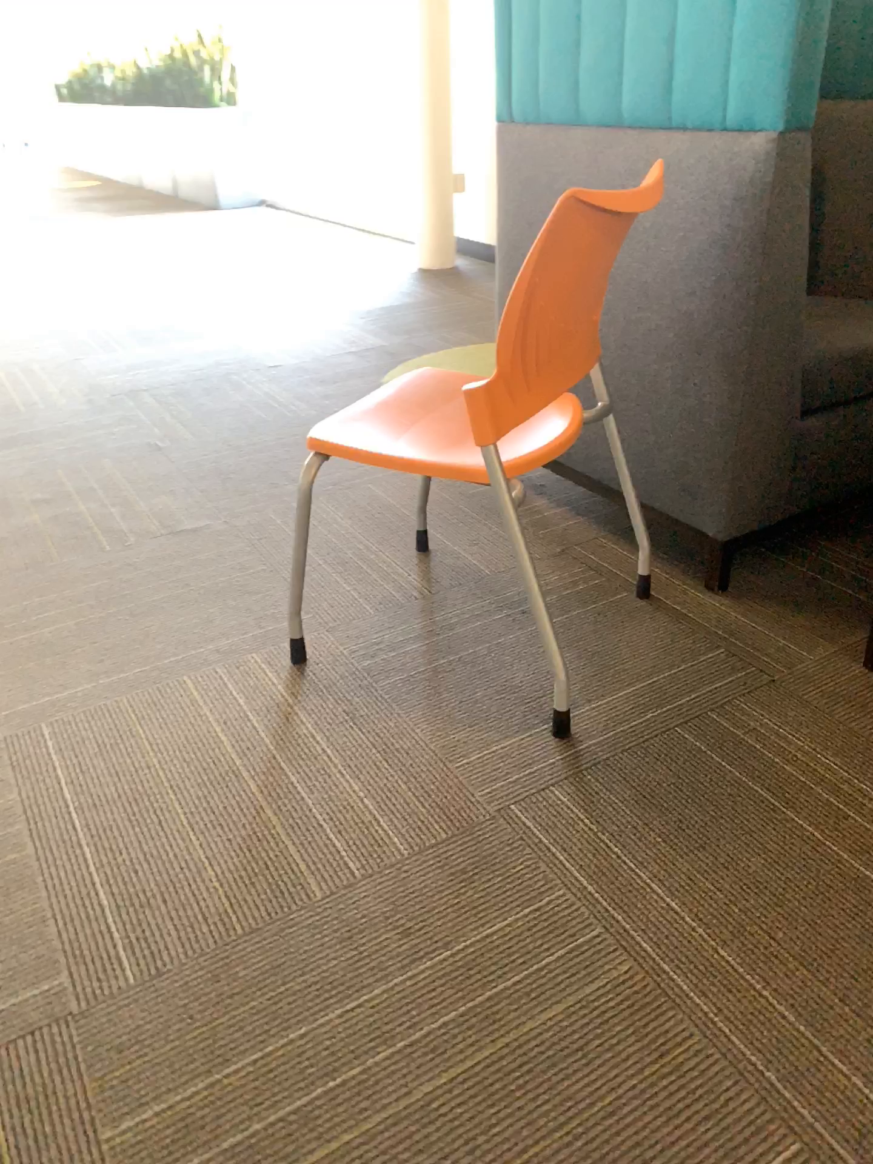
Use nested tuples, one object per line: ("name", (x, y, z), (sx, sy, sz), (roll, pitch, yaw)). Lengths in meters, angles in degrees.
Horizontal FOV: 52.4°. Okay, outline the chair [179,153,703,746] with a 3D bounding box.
("chair", (0.058, -0.295, 1.586), (0.611, 0.805, 0.643), (12, 32, 22))
